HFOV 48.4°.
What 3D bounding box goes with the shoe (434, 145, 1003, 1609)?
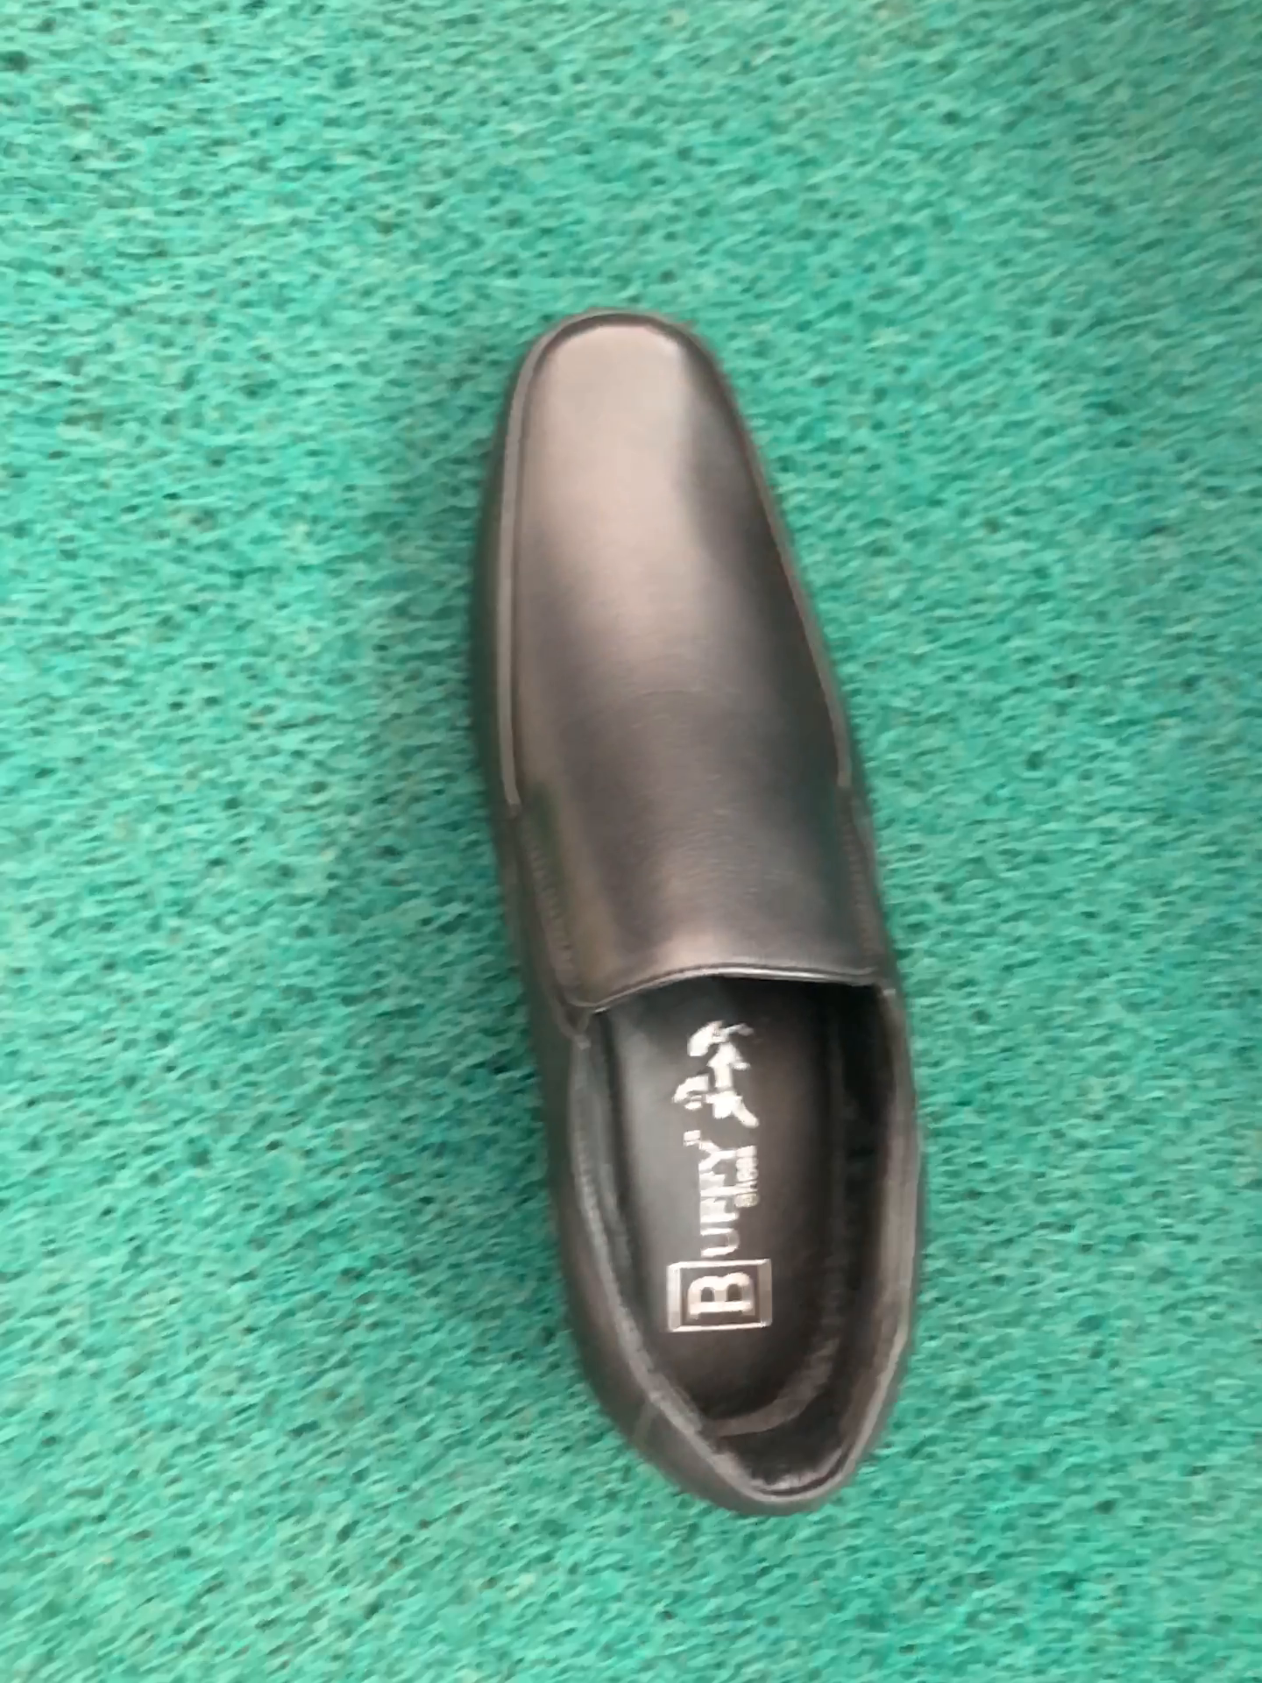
[{"bbox_3d":[0.014,0.003,0.350,0.100,0.090,0.310,-4,88,-11],"label":"shoe"}]
